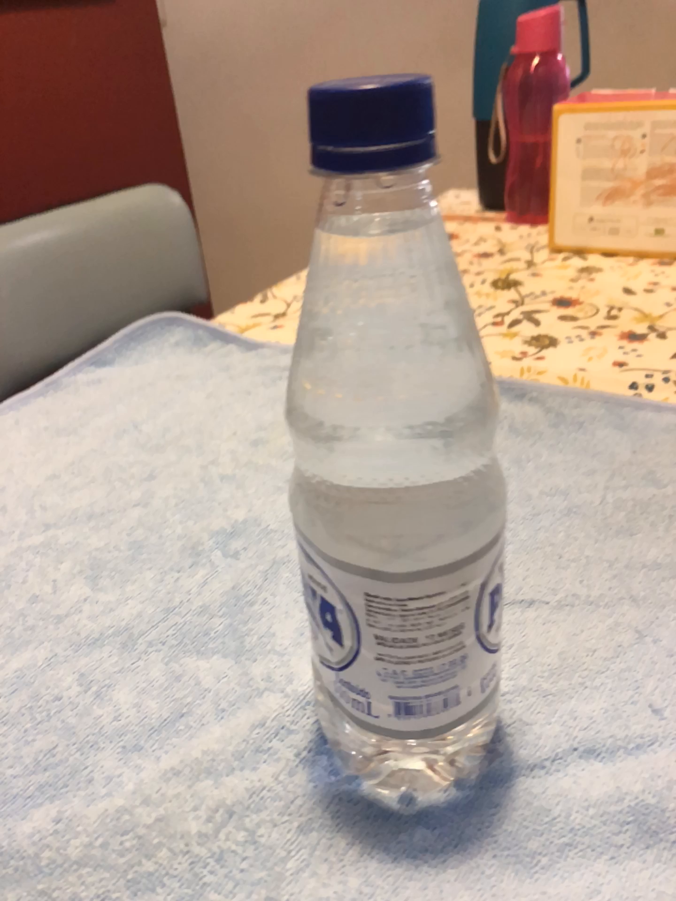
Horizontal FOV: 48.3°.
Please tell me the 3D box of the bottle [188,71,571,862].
[{"bbox_3d":[0.016,0.014,0.225,0.070,0.218,0.081,-6,29,0],"label":"bottle"}]
